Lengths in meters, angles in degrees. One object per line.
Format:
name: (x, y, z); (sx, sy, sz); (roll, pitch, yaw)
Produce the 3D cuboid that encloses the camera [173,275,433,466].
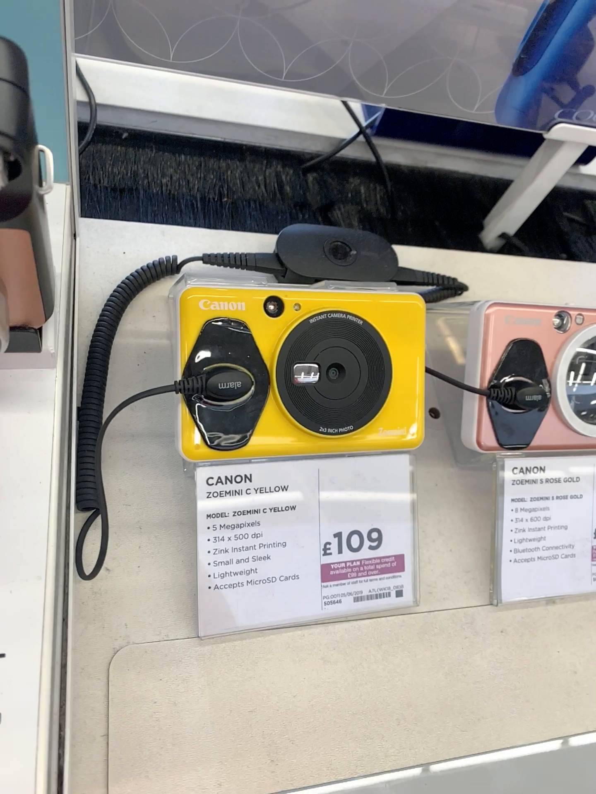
camera: (0.004, -0.013, 0.287); (0.120, 0.020, 0.080); (-1, 94, -19)
